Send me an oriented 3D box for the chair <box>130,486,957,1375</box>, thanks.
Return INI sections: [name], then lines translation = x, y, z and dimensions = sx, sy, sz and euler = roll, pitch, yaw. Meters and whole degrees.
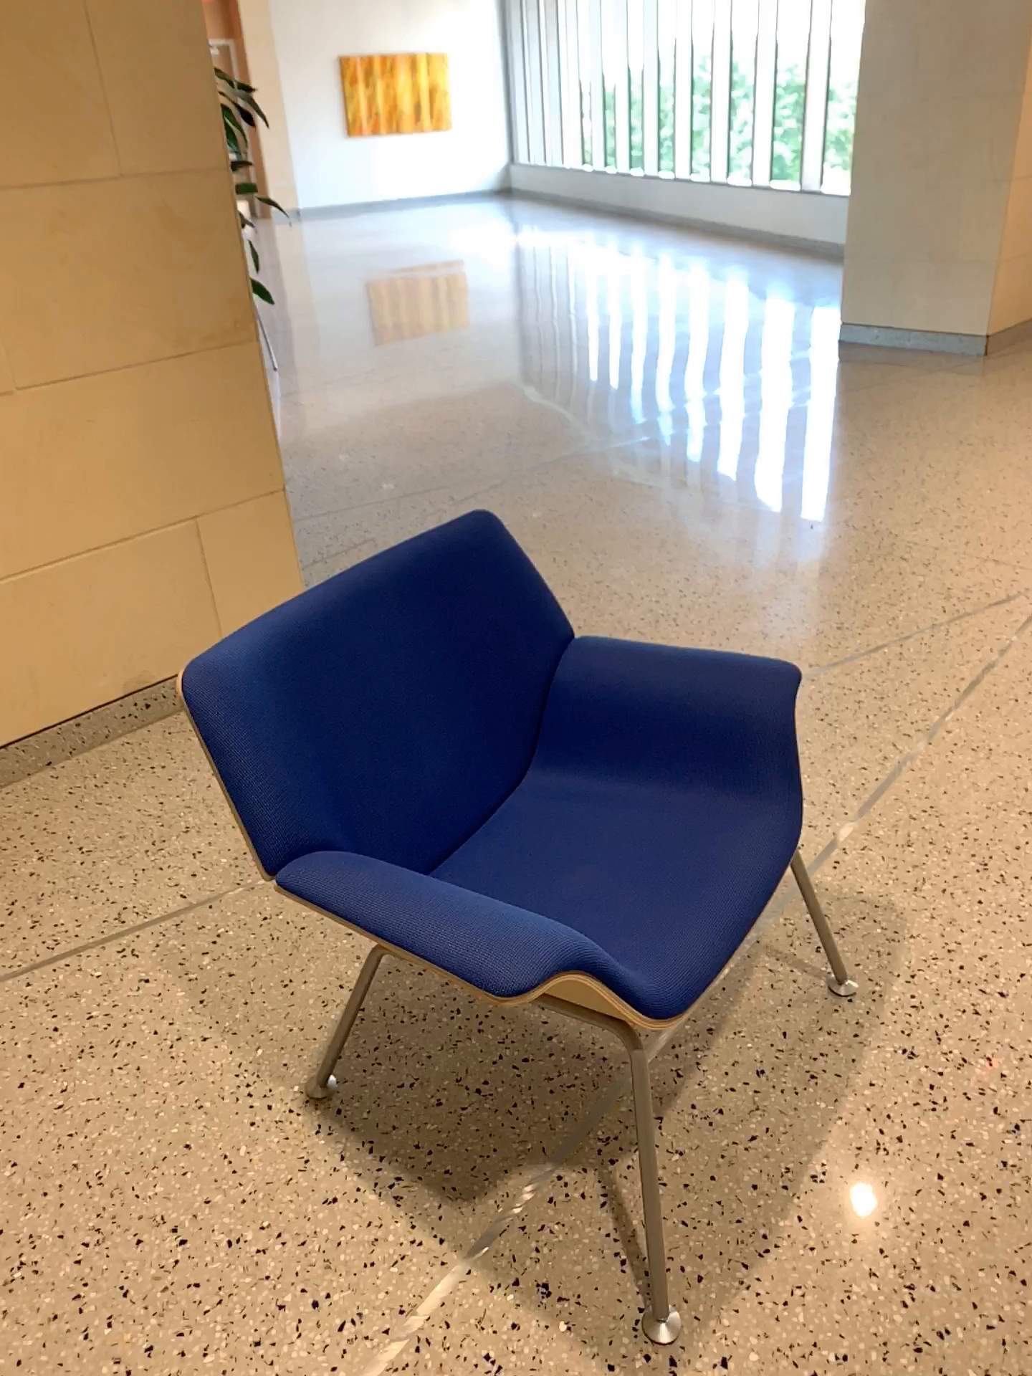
[chair]
translation = 0.093, 0.223, 1.516
dimensions = 0.759, 0.728, 0.783
euler = 14, 33, 31
